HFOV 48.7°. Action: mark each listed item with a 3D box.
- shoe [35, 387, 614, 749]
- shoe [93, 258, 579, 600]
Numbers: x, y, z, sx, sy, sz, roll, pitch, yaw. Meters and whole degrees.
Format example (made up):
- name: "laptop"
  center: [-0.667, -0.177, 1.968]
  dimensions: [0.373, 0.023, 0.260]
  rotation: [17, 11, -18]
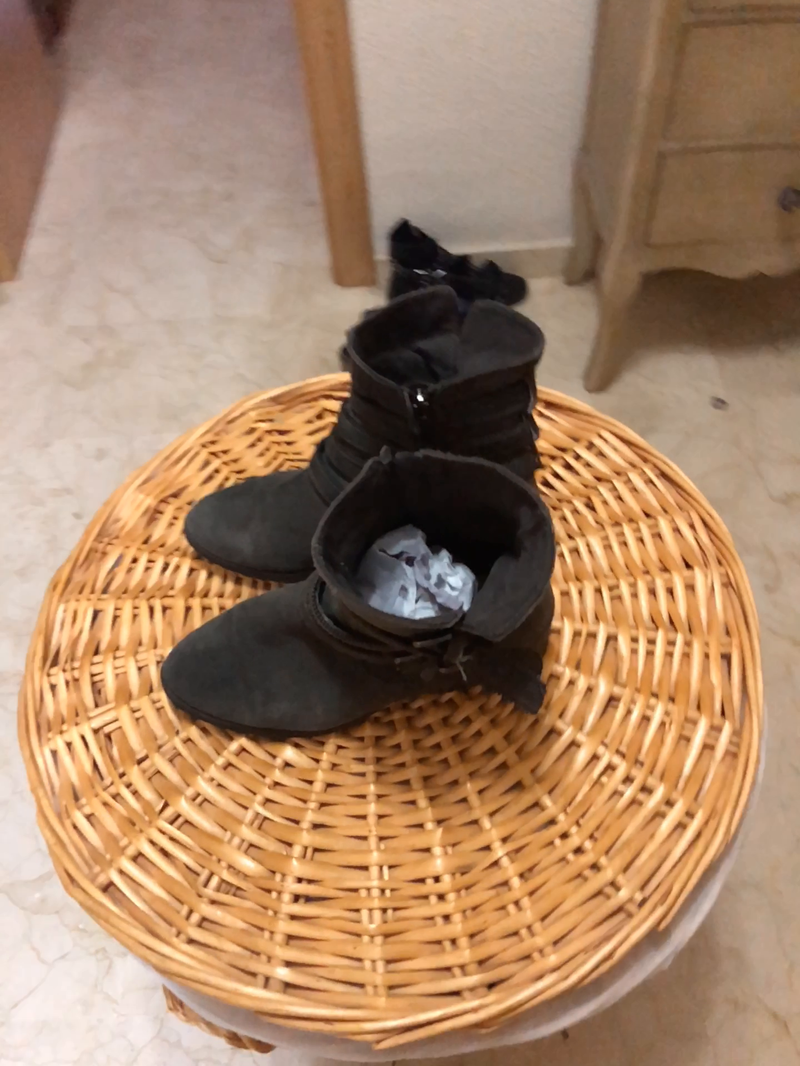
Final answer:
- name: "shoe"
  center: [-0.032, 0.028, 0.495]
  dimensions: [0.260, 0.169, 0.110]
  rotation: [-4, 54, 2]
- name: "shoe"
  center: [-0.031, -0.062, 0.570]
  dimensions: [0.260, 0.169, 0.110]
  rotation: [-4, 47, 2]
